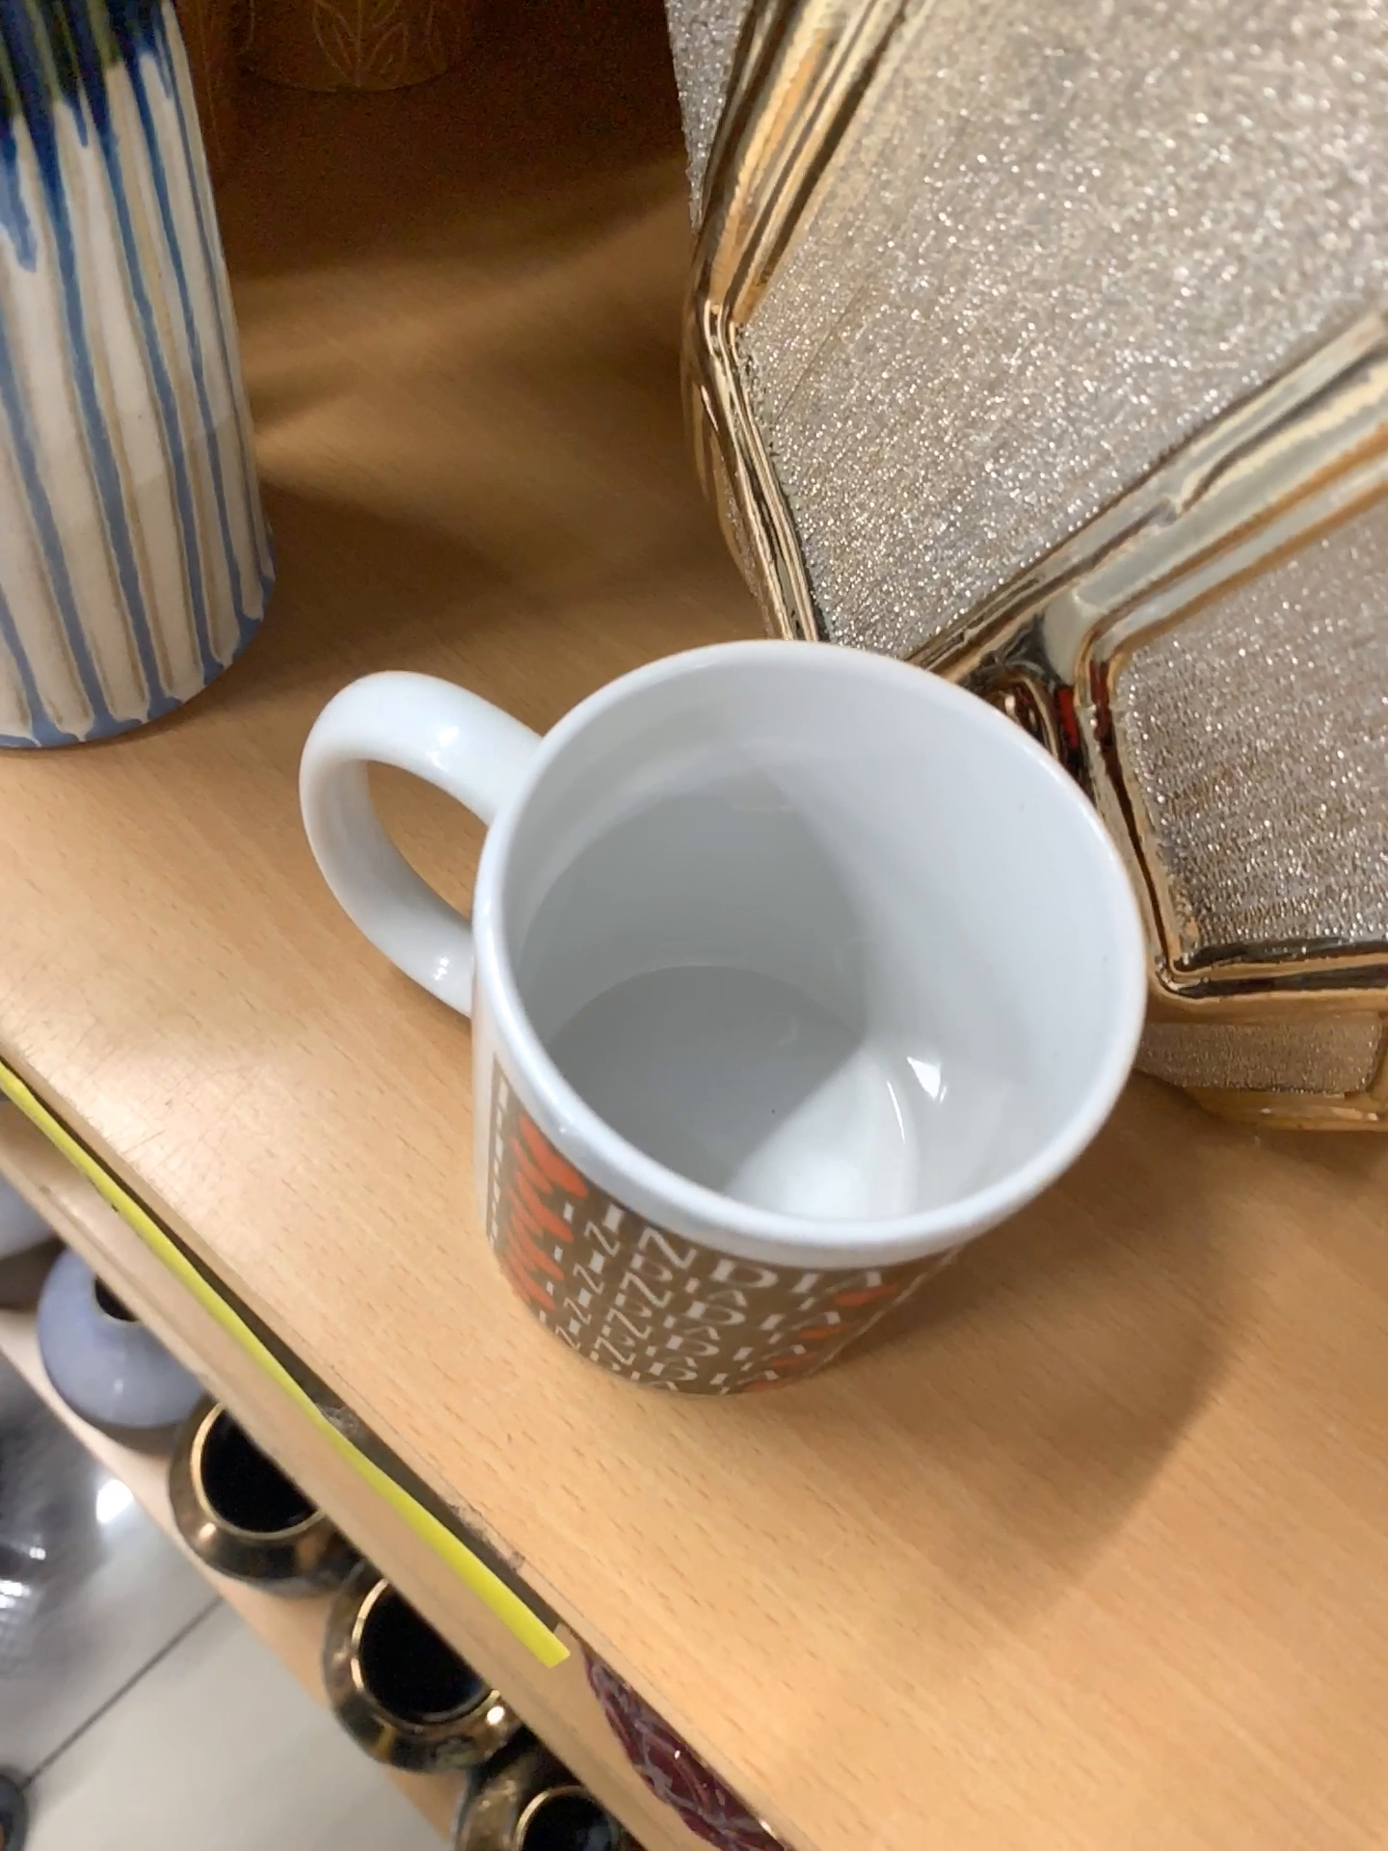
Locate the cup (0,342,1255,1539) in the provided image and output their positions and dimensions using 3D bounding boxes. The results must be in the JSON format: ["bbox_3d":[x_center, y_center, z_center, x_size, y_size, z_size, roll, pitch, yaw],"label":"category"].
[{"bbox_3d":[-0.013,0.006,0.205,0.130,0.090,0.090,28,60,6],"label":"cup"}]
